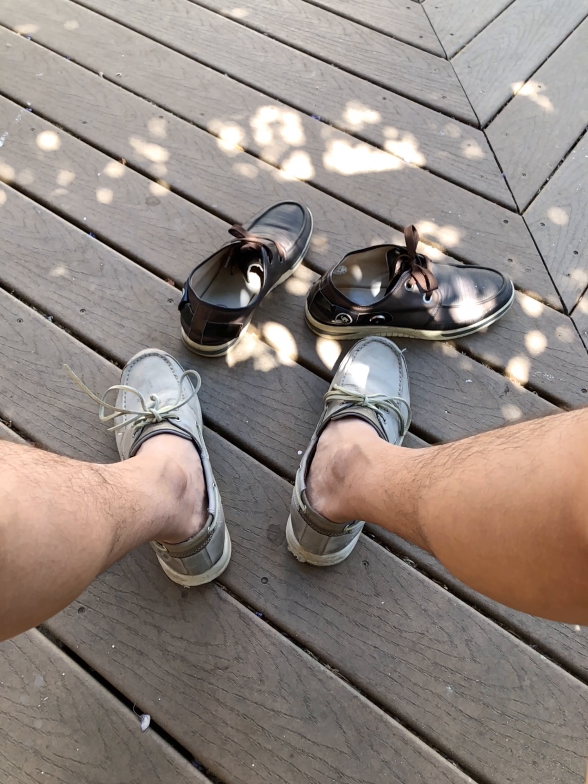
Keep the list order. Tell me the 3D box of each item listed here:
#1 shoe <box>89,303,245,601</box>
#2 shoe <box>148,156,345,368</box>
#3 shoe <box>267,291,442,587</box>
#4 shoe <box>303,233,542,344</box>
[{"bbox_3d":[-0.139,0.055,0.691,0.109,0.086,0.293,-12,61,-10],"label":"shoe"},{"bbox_3d":[-0.053,-0.175,0.834,0.109,0.069,0.279,29,64,13],"label":"shoe"},{"bbox_3d":[0.069,0.044,0.712,0.109,0.101,0.293,17,60,7],"label":"shoe"},{"bbox_3d":[0.154,-0.132,0.825,0.277,0.079,0.110,-1,59,-3],"label":"shoe"}]
